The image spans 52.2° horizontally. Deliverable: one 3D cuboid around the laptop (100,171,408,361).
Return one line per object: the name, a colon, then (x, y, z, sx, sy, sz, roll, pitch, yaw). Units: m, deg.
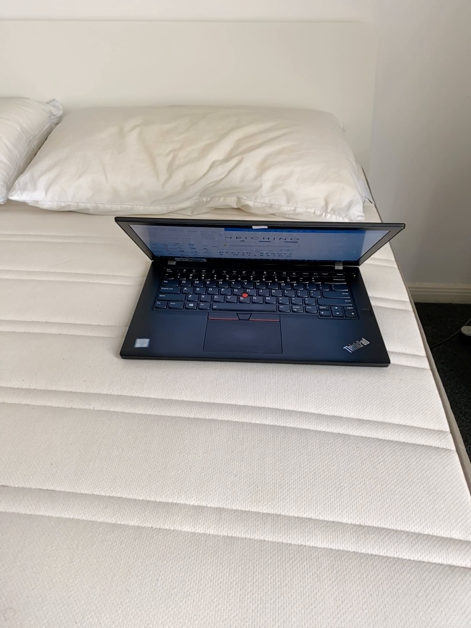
laptop: (0.023, -0.073, 0.637, 0.324, 0.150, 0.221, 1, 37, 1)
